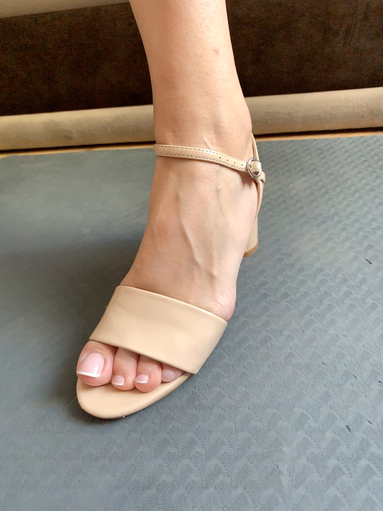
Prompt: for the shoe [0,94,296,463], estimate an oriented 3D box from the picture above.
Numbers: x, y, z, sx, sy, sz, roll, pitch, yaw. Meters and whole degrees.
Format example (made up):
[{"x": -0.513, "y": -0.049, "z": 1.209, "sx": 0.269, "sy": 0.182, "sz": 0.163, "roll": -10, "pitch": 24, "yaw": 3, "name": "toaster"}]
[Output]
[{"x": -0.009, "y": -0.017, "z": 0.283, "sx": 0.090, "sy": 0.119, "sz": 0.251, "roll": 13, "pitch": 40, "yaw": 26, "name": "shoe"}]
